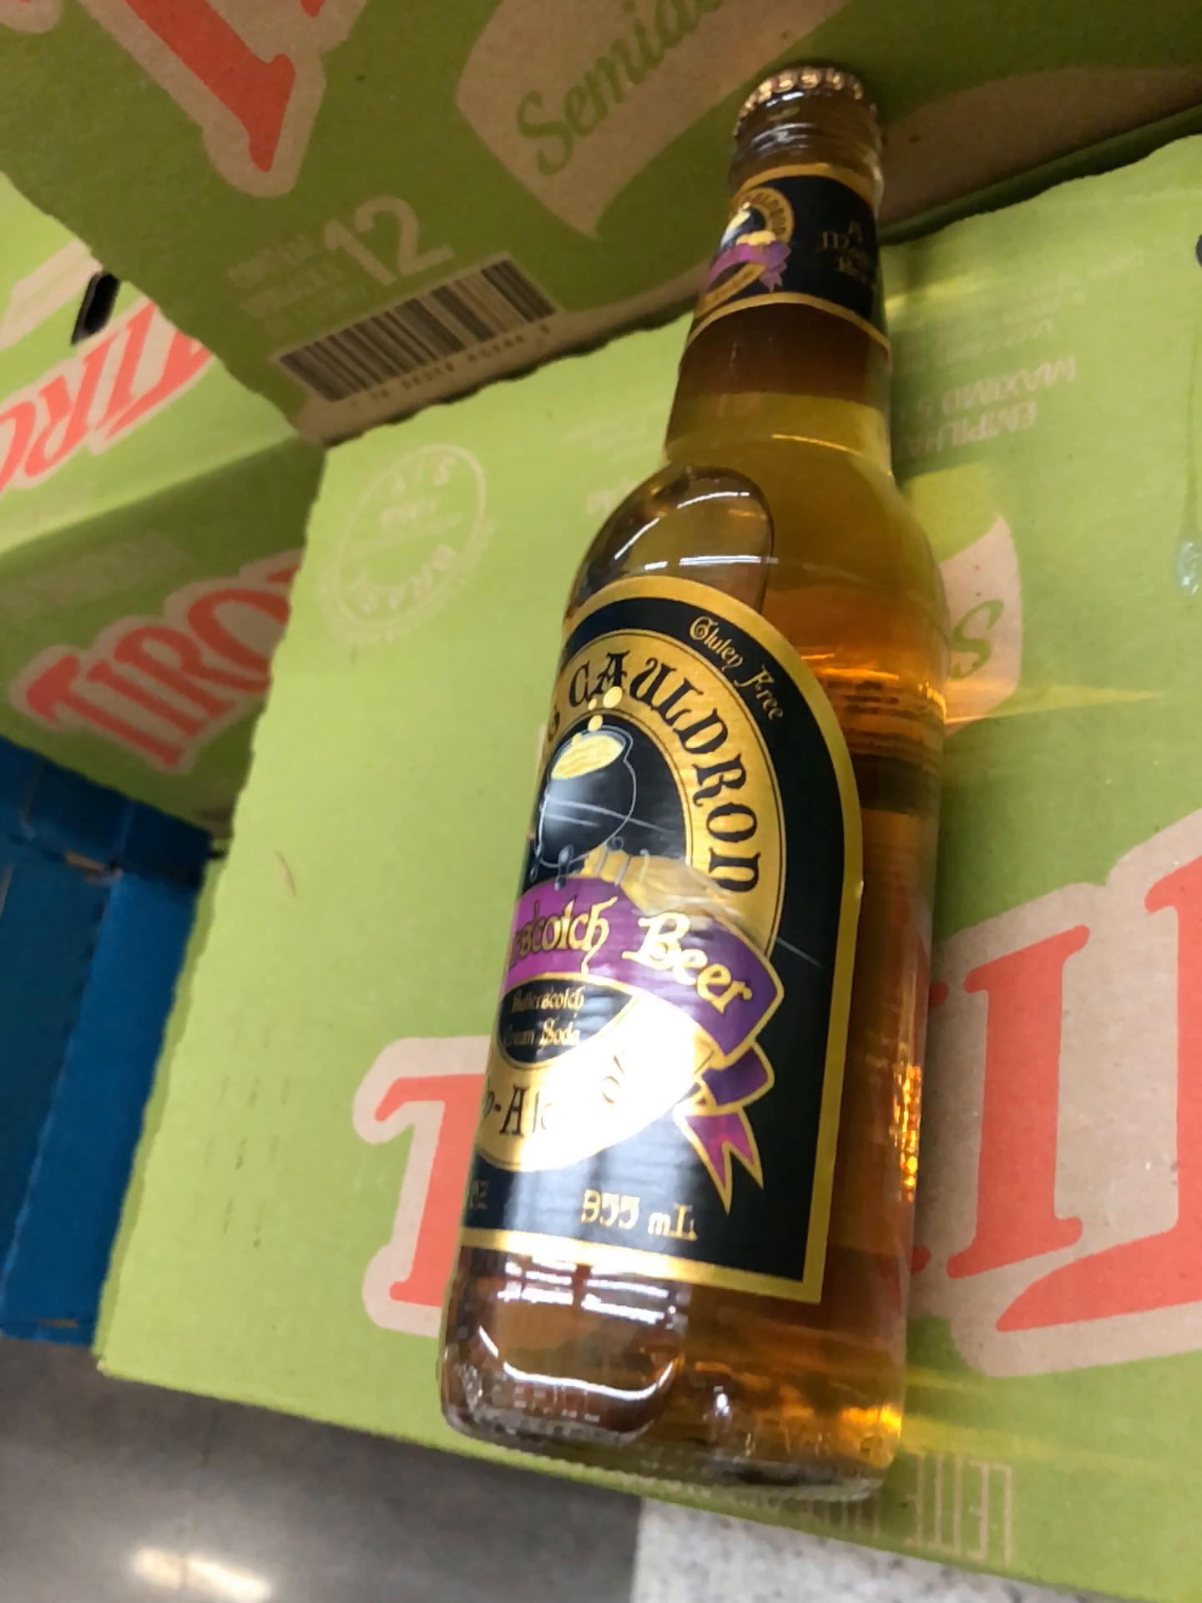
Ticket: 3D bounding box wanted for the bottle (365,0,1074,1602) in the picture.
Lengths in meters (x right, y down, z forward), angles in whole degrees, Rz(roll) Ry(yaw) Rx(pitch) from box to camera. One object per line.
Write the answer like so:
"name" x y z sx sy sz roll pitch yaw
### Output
"bottle" 0.030 -0.031 0.212 0.070 0.050 0.260 -7 65 34
